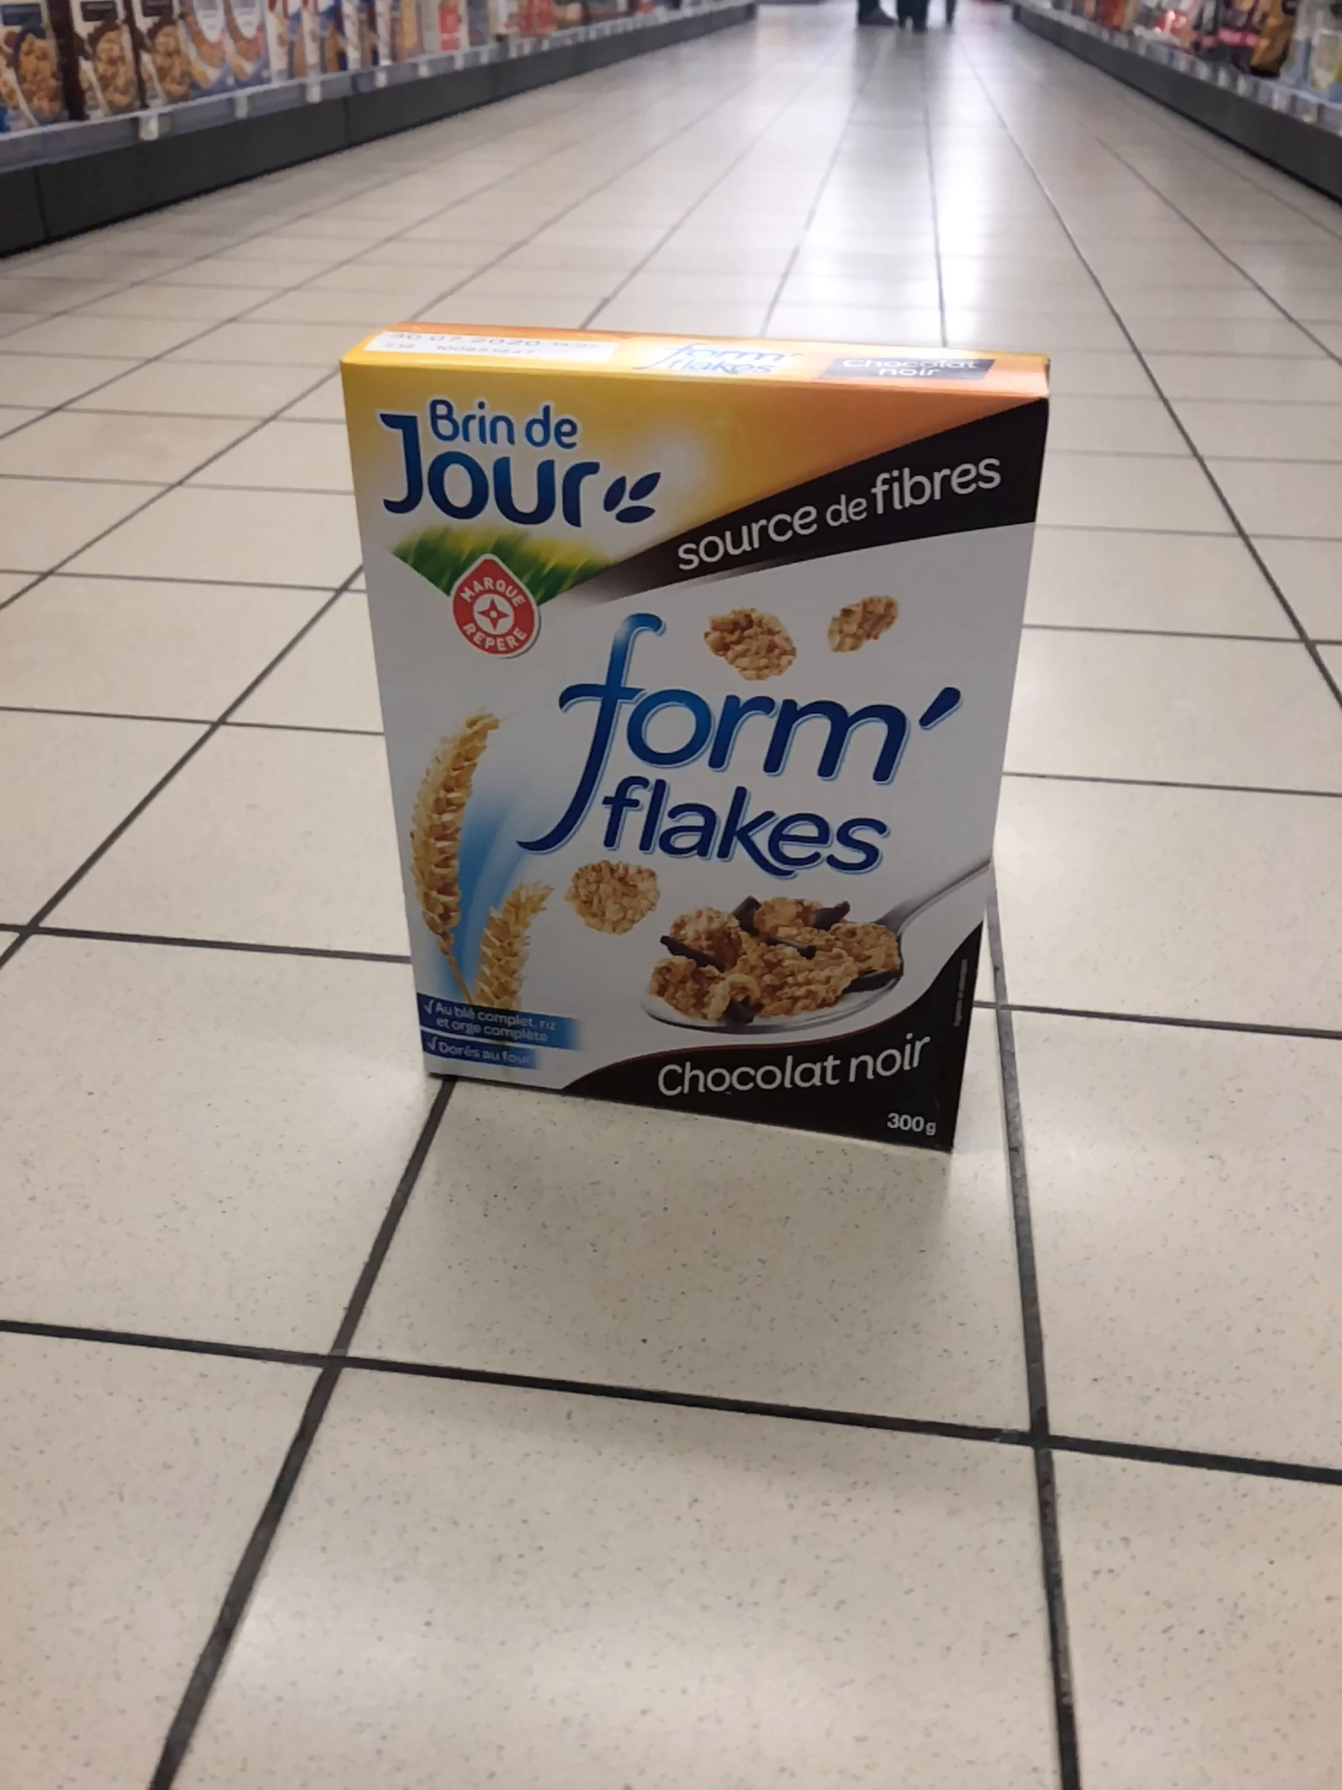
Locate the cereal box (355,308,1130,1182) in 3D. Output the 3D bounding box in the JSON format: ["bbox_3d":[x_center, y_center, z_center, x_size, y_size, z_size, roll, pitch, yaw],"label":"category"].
[{"bbox_3d":[0.021,-0.043,0.467,0.200,0.248,0.070,7,32,11],"label":"cereal box"}]
